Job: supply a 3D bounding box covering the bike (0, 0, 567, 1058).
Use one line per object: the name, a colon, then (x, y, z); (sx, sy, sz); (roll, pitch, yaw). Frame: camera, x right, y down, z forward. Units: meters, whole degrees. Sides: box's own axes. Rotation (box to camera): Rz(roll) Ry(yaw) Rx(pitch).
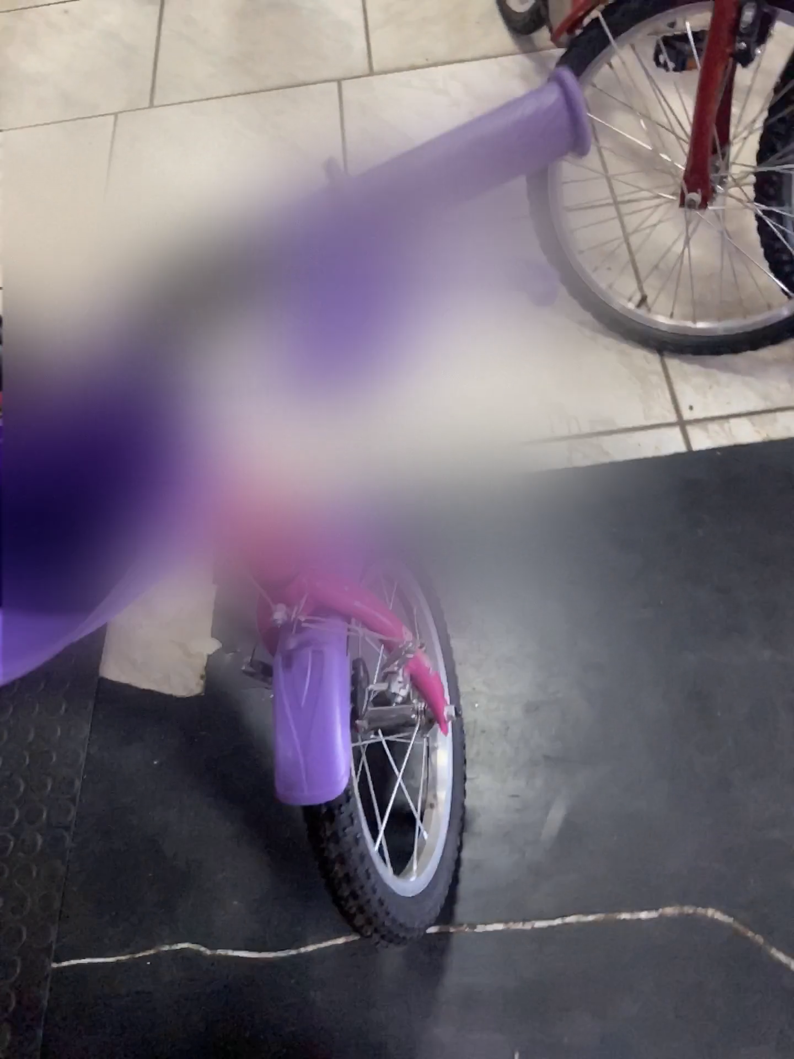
bike: (-0.363, 0.015, 0.709); (0.923, 0.704, 0.547); (40, 72, 21)
